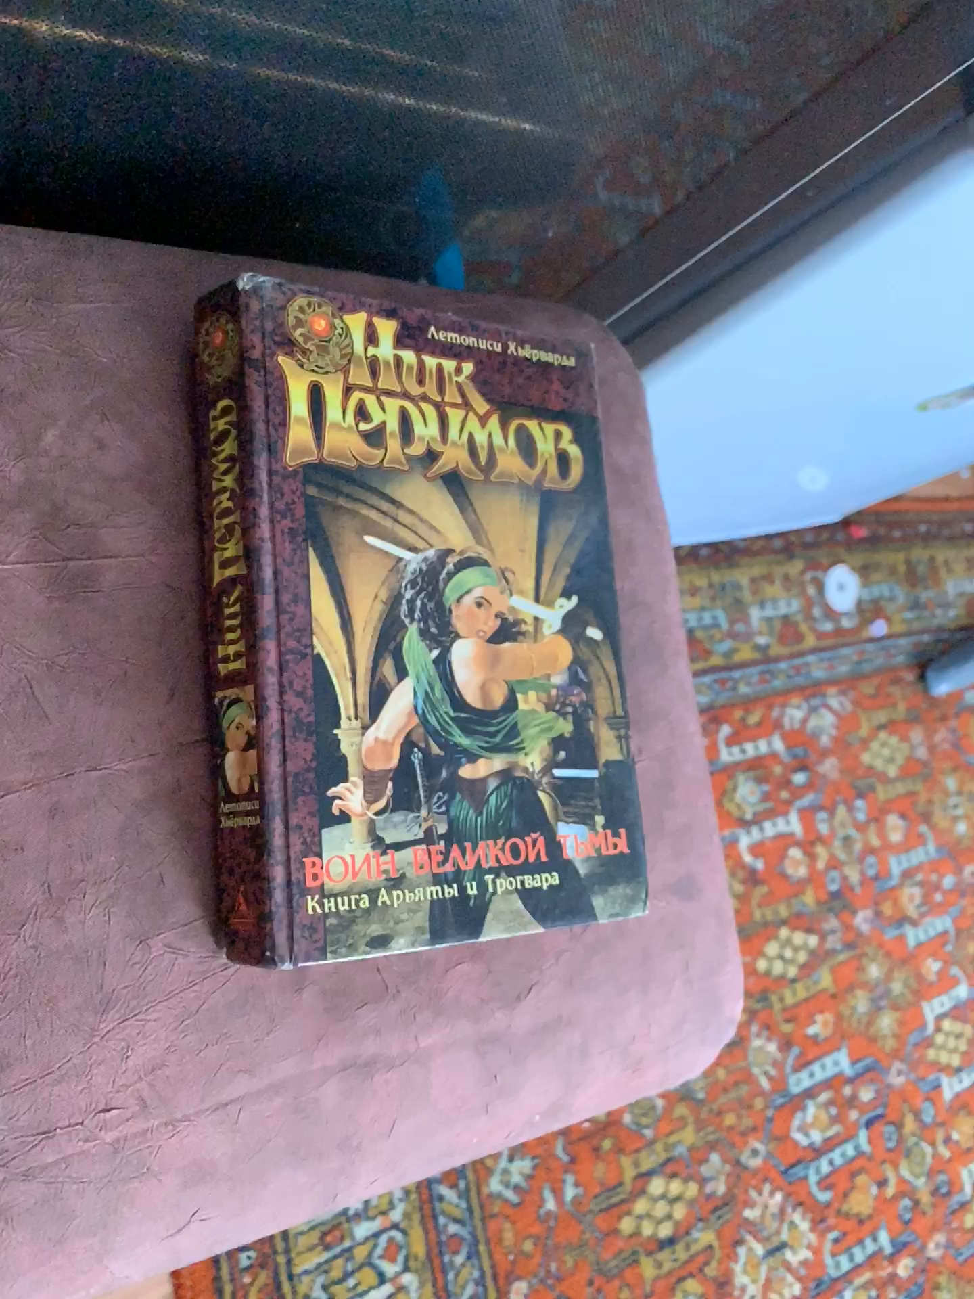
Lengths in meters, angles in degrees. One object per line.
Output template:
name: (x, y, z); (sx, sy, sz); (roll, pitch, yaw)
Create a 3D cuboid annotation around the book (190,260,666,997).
book: (-0.018, -0.007, 0.328); (0.140, 0.037, 0.205); (1, 79, -32)
